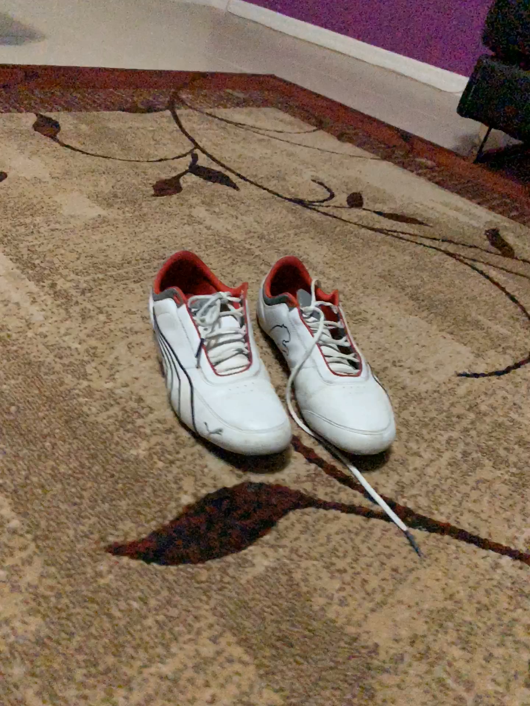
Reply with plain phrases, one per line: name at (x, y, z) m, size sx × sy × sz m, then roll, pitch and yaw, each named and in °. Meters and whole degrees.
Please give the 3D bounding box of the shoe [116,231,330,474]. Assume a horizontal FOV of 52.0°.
shoe at (-0.059, -0.022, 0.537) m, size 0.099 × 0.070 × 0.283 m, roll -8°, pitch 42°, yaw -28°

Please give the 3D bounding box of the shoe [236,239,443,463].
shoe at (0.059, -0.021, 0.574) m, size 0.103 × 0.070 × 0.283 m, roll -1°, pitch 39°, yaw -20°
